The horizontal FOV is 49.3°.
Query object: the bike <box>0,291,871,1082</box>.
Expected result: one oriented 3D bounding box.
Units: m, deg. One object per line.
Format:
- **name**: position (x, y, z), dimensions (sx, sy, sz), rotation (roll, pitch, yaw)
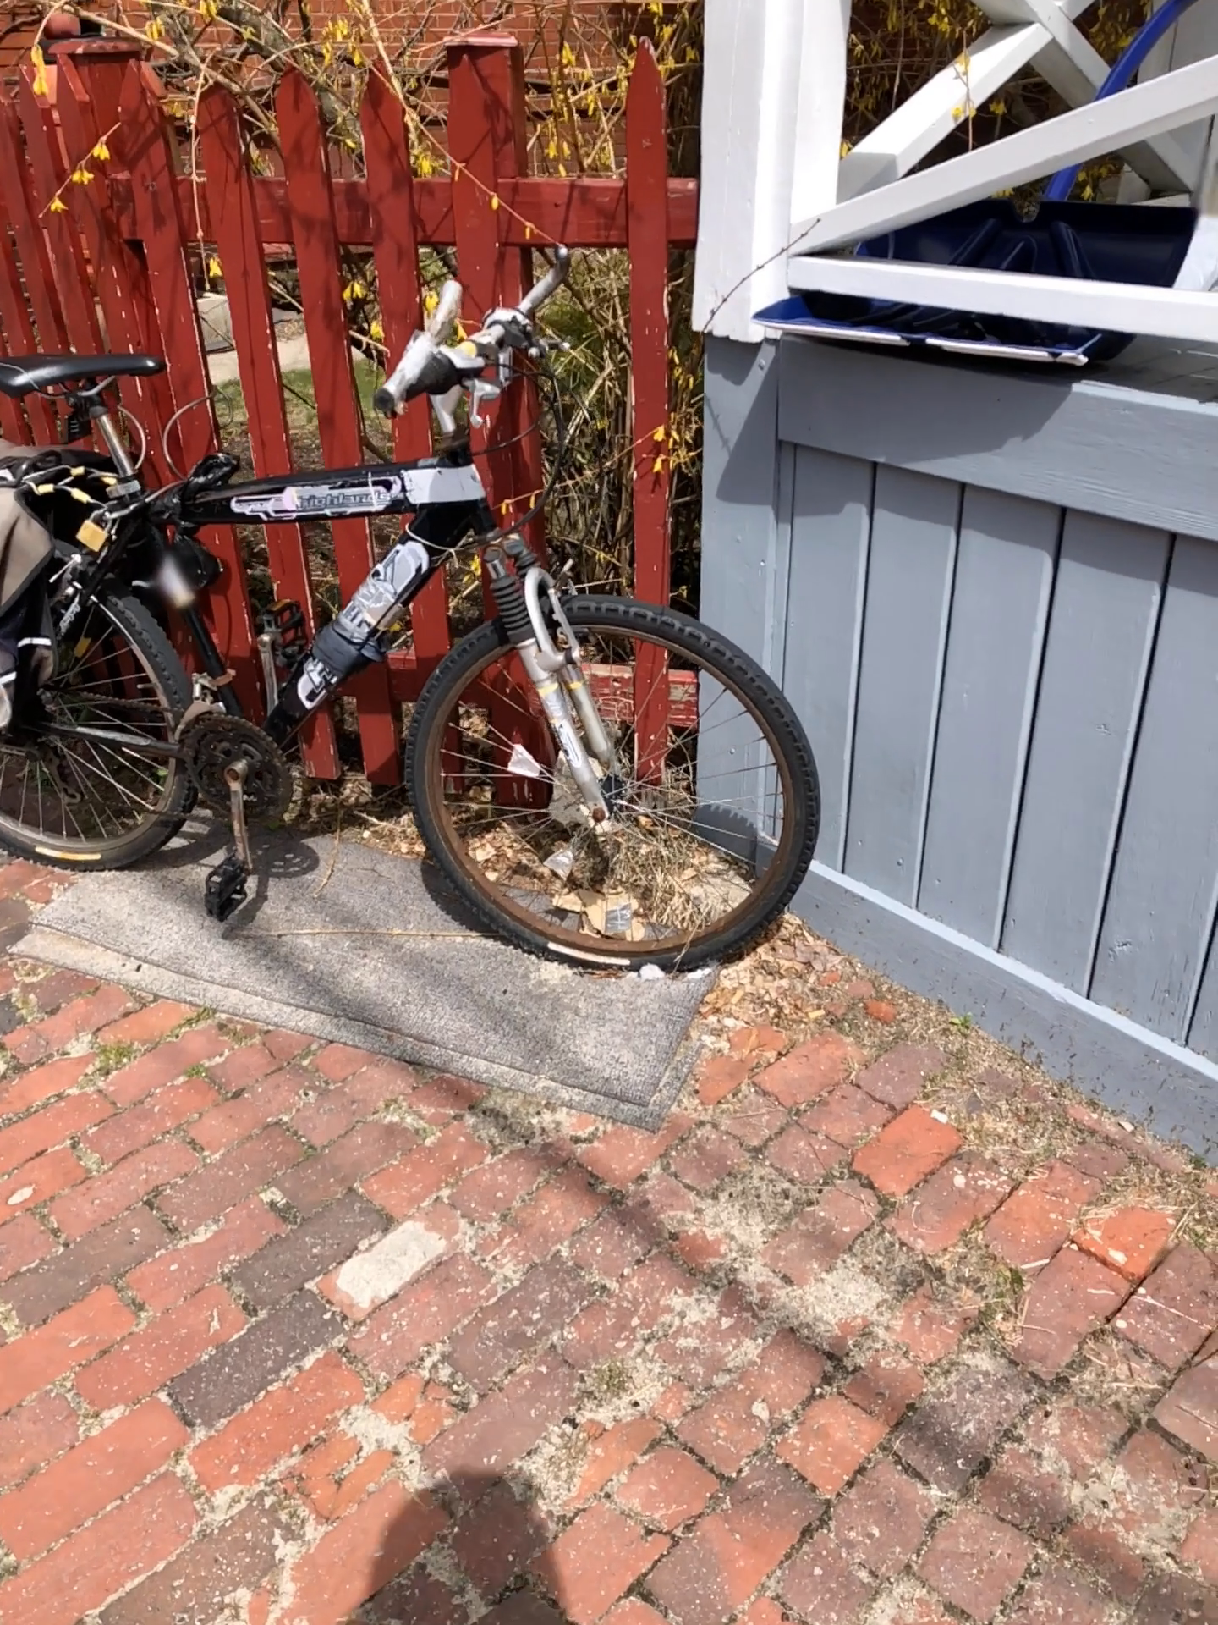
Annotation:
- **bike**: position (-0.522, -0.280, 2.203), dimensions (1.723, 1.000, 0.676), rotation (6, 30, 14)
